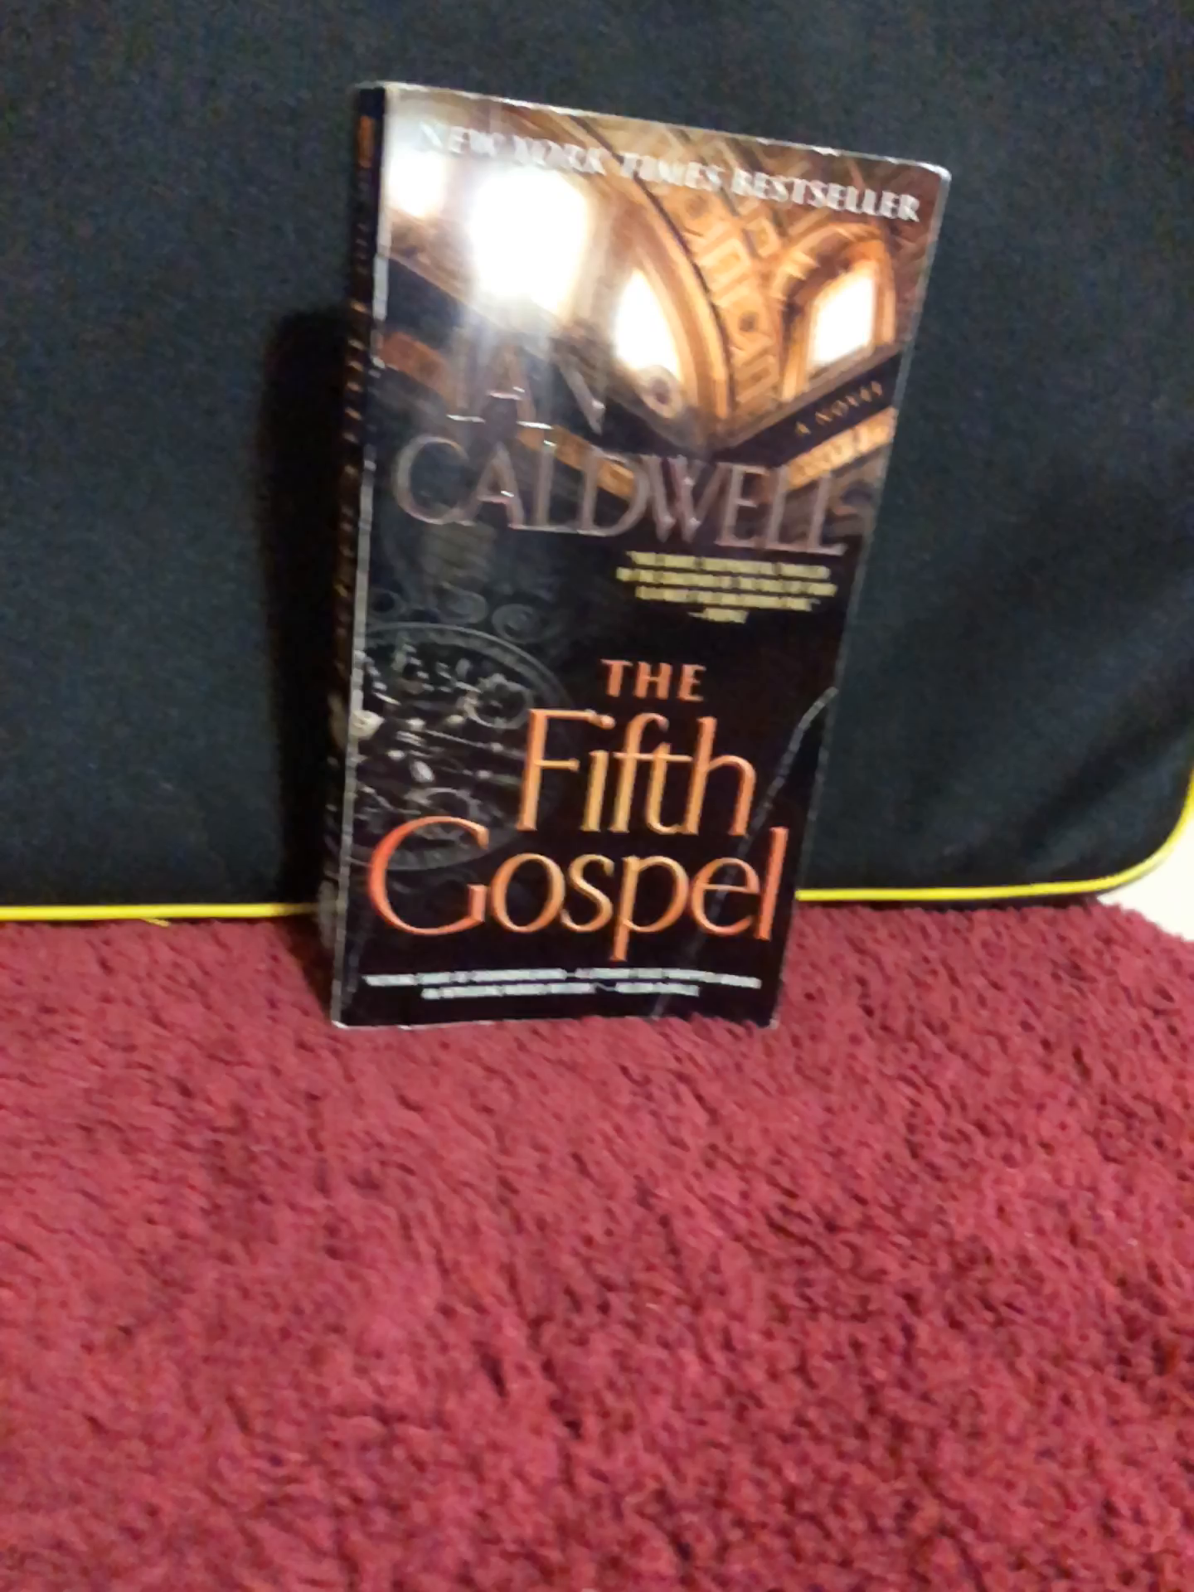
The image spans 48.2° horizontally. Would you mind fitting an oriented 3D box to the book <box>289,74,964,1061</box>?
[{"bbox_3d":[-0.003,-0.041,0.304,0.120,0.199,0.050,4,21,-9],"label":"book"}]
